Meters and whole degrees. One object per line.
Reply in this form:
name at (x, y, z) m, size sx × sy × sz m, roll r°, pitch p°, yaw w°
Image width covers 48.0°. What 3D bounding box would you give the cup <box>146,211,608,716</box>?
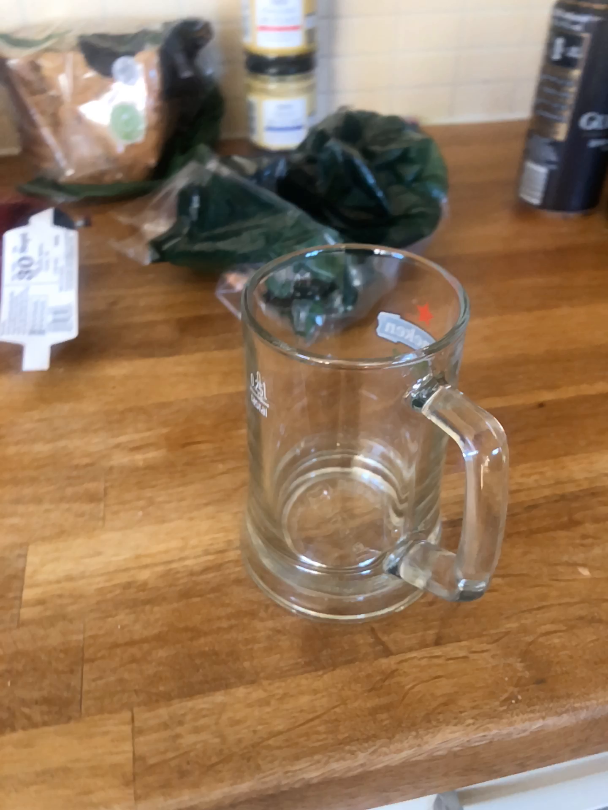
cup at (0.018, 0.012, 0.245) m, size 0.091 × 0.109 × 0.115 m, roll -24°, pitch 43°, yaw -25°
